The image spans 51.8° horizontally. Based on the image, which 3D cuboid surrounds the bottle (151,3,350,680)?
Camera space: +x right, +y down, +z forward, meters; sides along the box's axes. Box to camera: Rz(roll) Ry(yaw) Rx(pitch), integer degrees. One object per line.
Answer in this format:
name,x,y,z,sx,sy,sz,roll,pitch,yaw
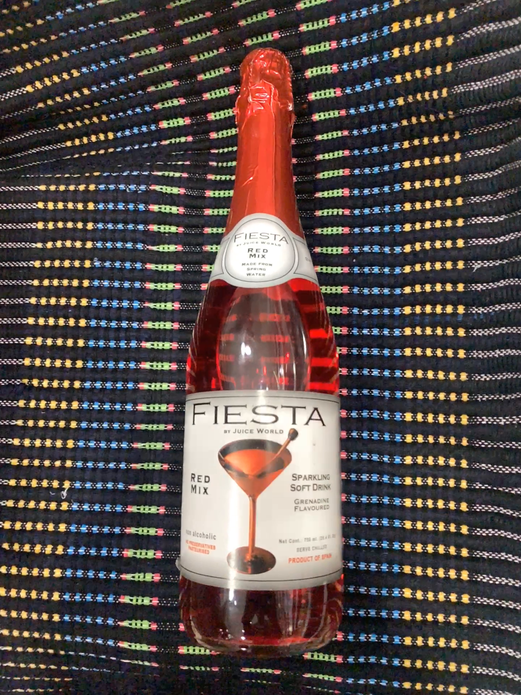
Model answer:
bottle,0.000,-0.015,0.279,0.080,0.070,0.310,-2,78,8
